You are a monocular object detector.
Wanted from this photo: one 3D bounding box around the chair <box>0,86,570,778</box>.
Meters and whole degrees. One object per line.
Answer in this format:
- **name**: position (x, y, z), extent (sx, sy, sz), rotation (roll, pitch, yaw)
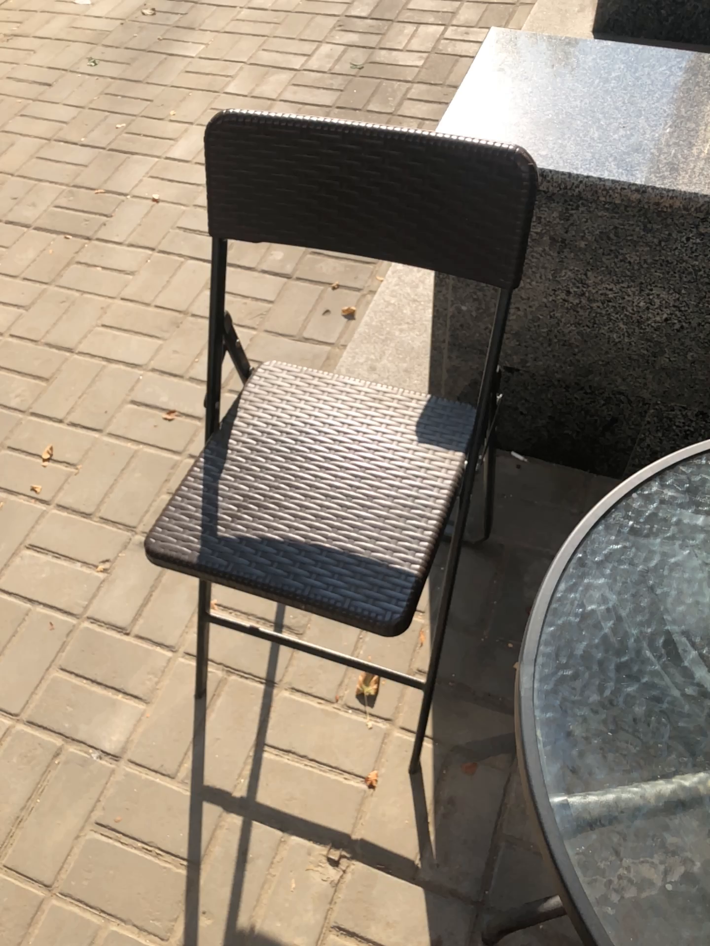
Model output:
- **chair**: position (-0.041, -0.009, 1.079), extent (0.450, 0.748, 0.511), rotation (14, 55, 13)
